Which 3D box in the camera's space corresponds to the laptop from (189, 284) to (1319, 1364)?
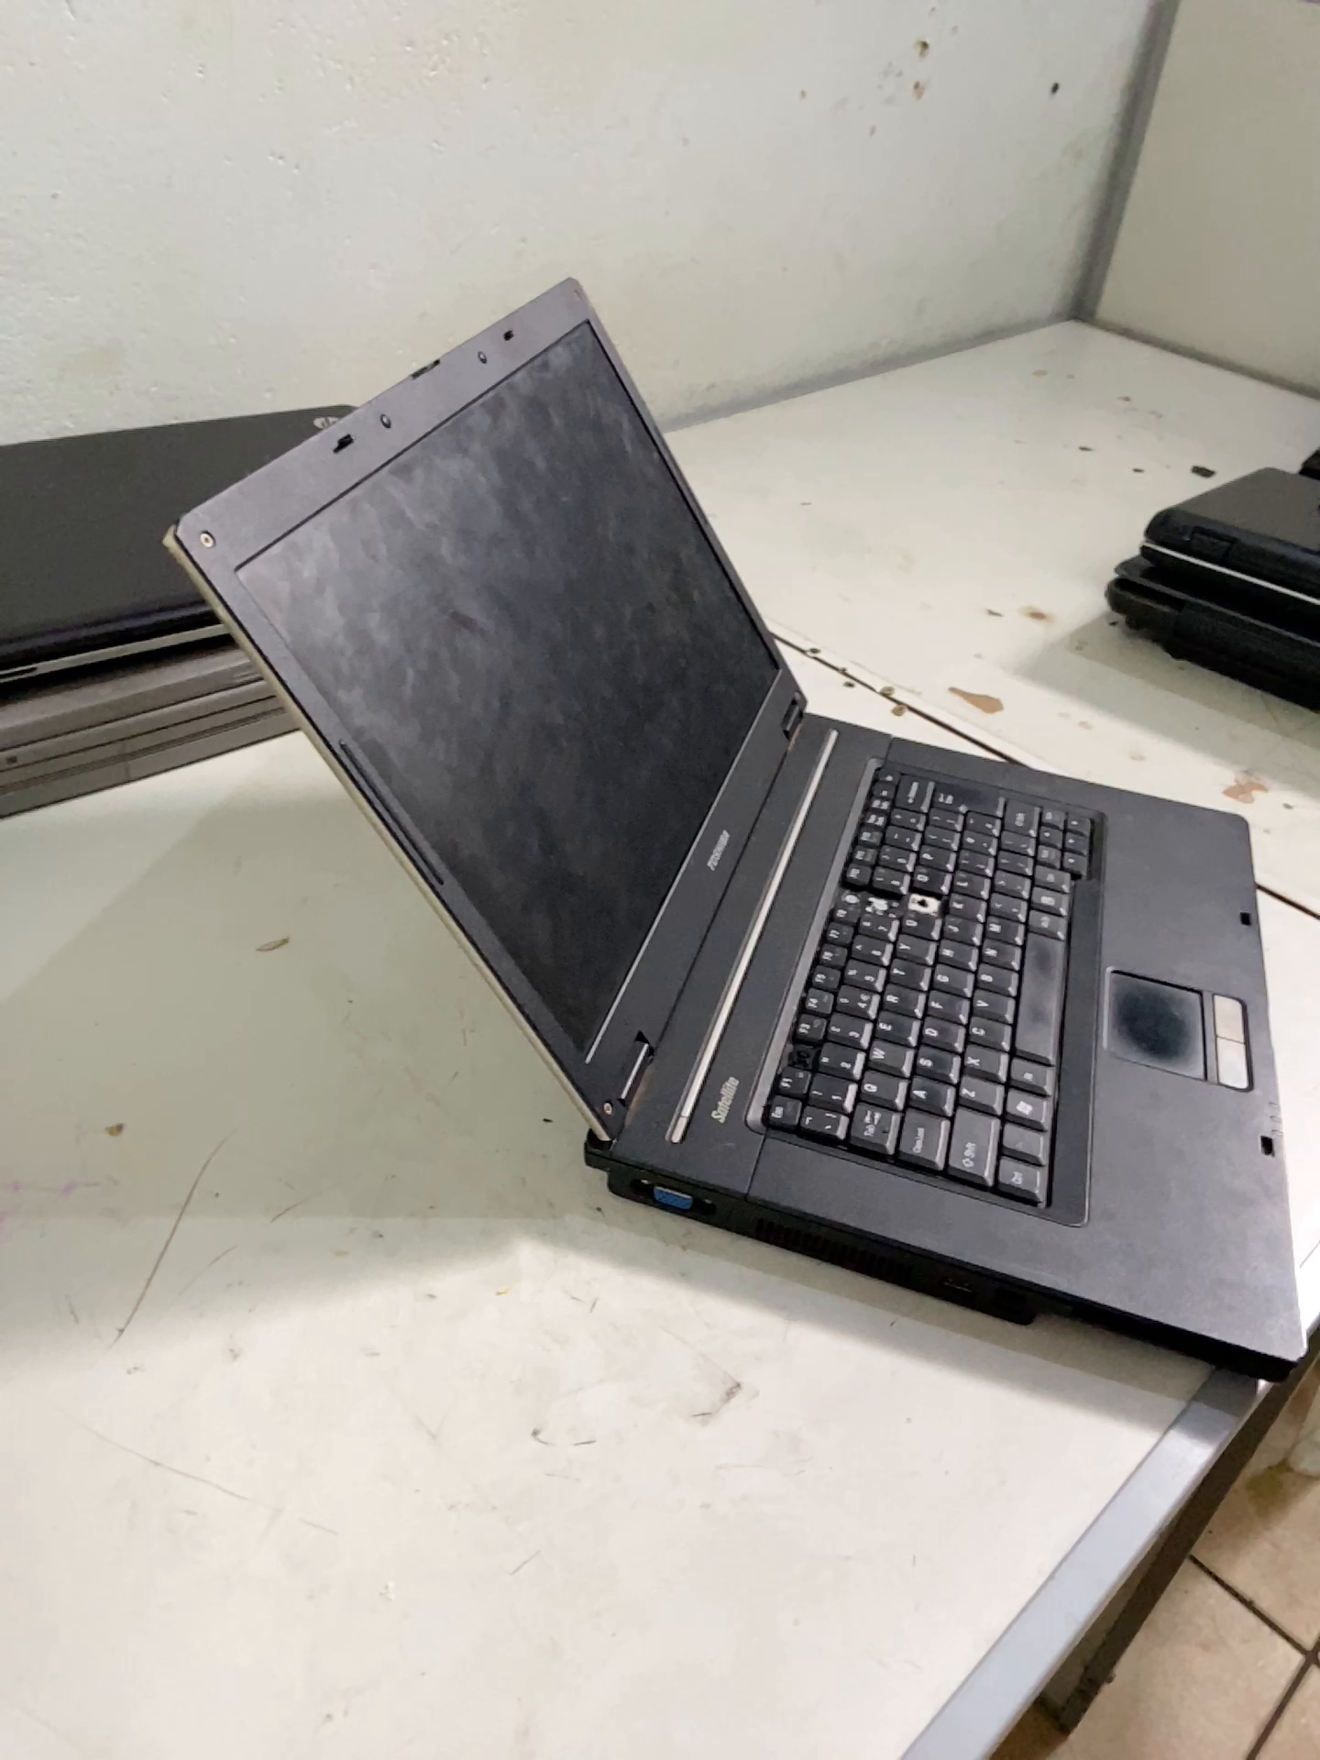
[{"bbox_3d":[0.091,-0.069,0.576,0.401,0.212,0.358,15,38,11],"label":"laptop"}]
